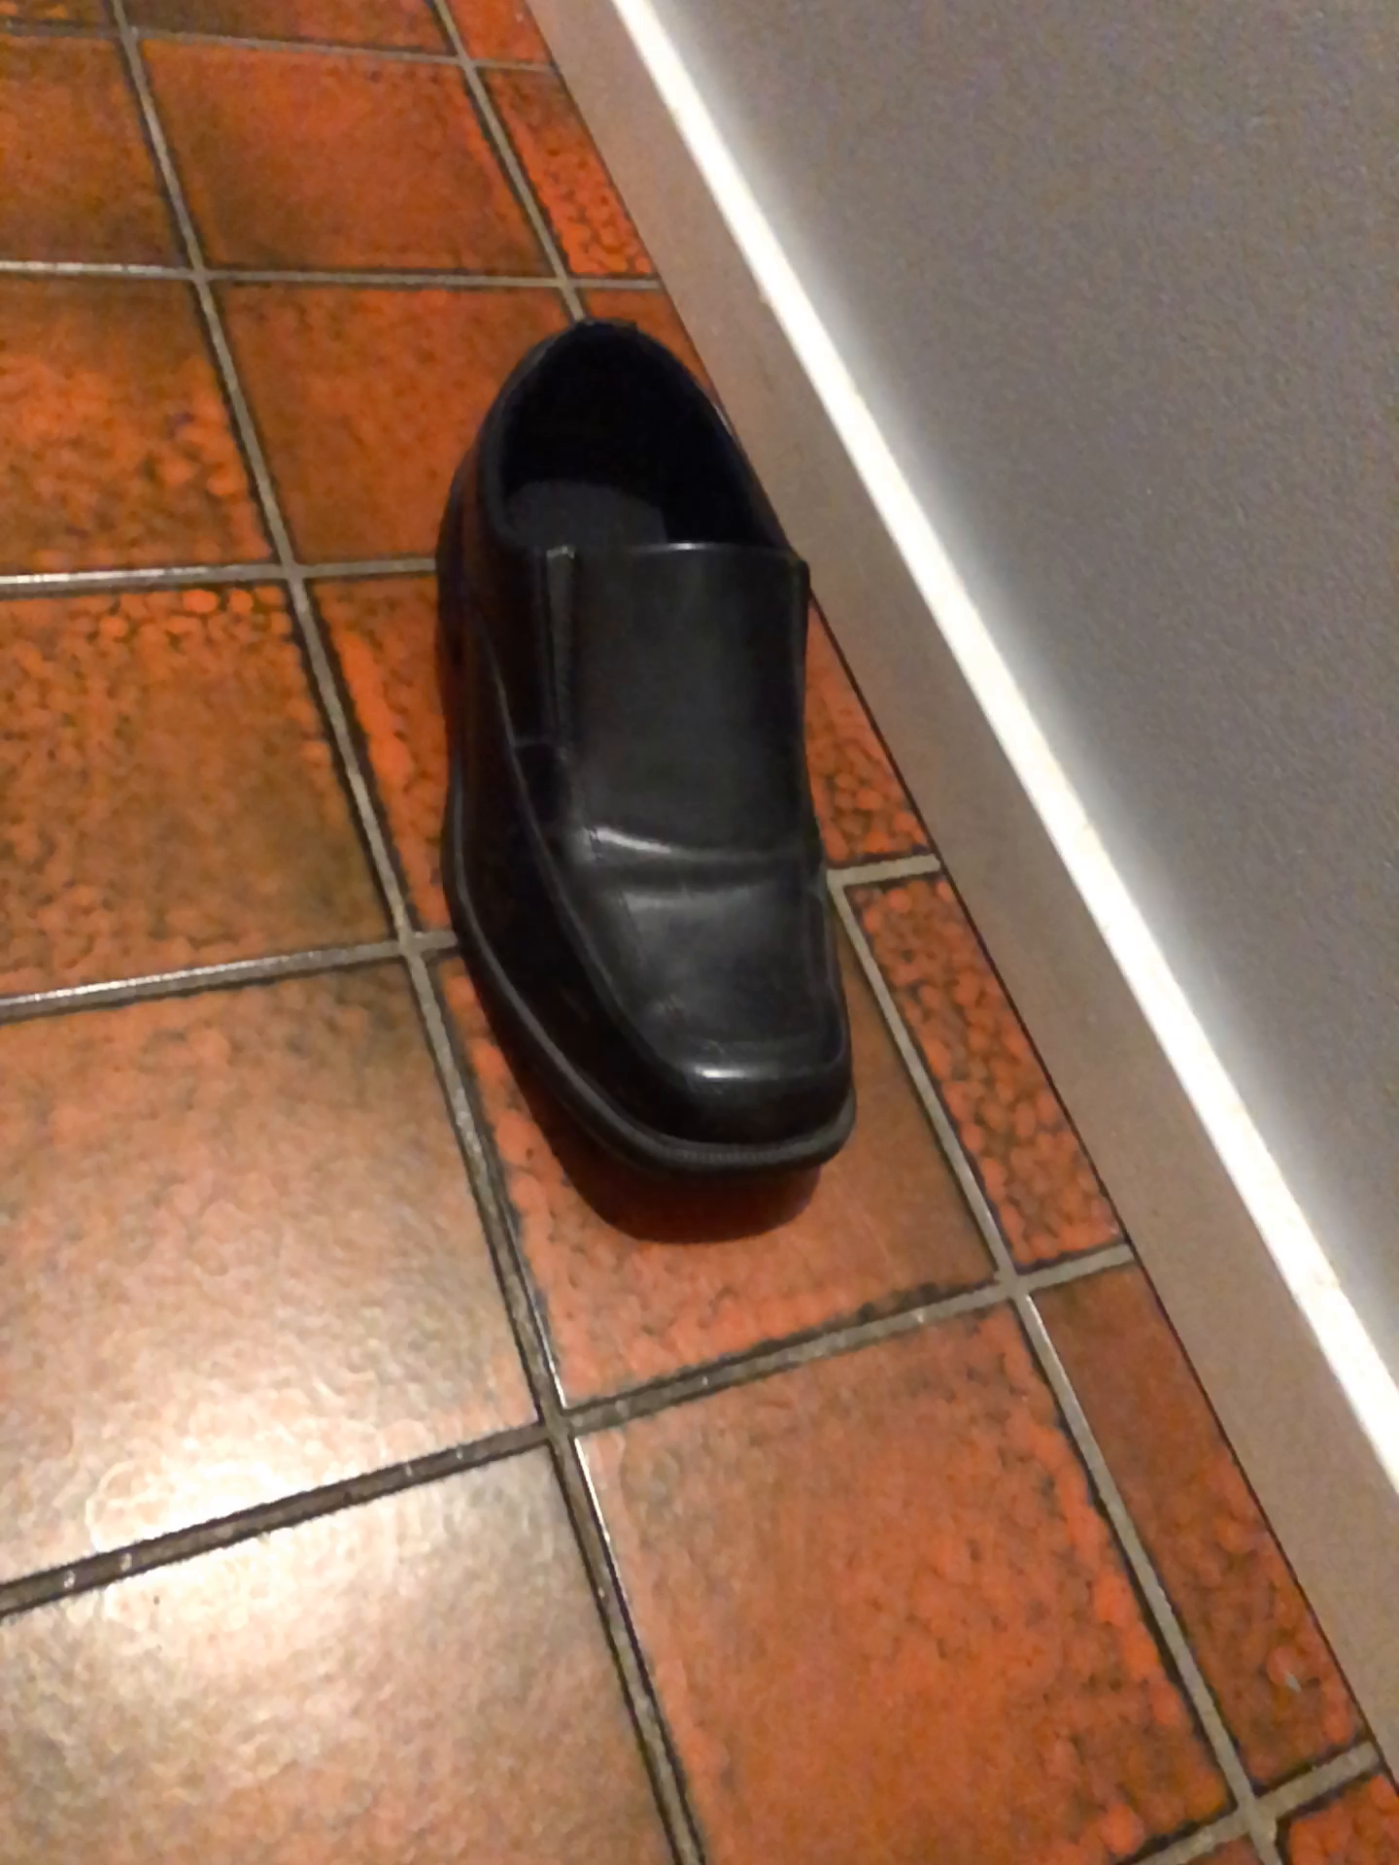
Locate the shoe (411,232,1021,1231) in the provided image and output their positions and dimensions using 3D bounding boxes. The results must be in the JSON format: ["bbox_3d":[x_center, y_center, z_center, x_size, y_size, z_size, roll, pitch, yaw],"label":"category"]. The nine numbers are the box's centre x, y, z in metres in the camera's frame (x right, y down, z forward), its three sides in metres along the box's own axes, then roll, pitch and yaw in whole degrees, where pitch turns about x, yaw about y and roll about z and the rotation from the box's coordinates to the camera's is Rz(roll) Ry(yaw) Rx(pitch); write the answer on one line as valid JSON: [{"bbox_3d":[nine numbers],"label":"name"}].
[{"bbox_3d":[-0.013,-0.070,0.486,0.120,0.100,0.300,1,59,-19],"label":"shoe"}]
